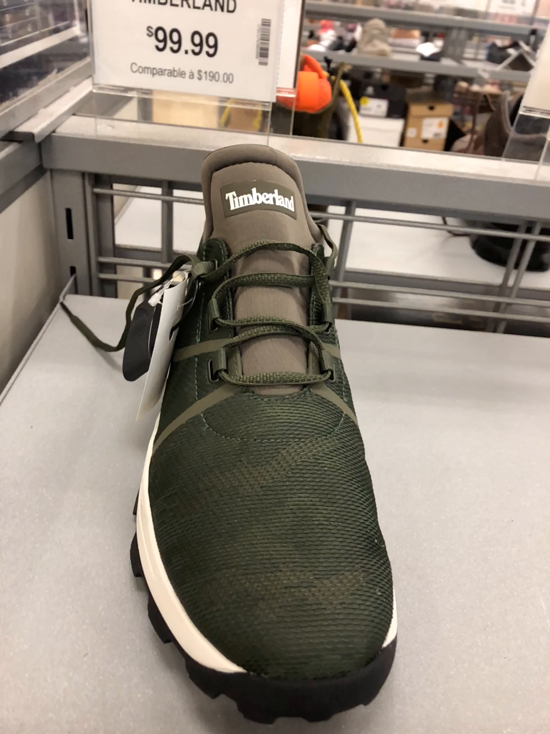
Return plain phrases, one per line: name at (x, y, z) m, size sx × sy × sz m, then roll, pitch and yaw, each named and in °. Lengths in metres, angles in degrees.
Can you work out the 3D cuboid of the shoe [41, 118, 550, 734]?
shoe at (-0.013, -0.006, 0.306) m, size 0.130 × 0.149 × 0.312 m, roll 0°, pitch 34°, yaw -10°
